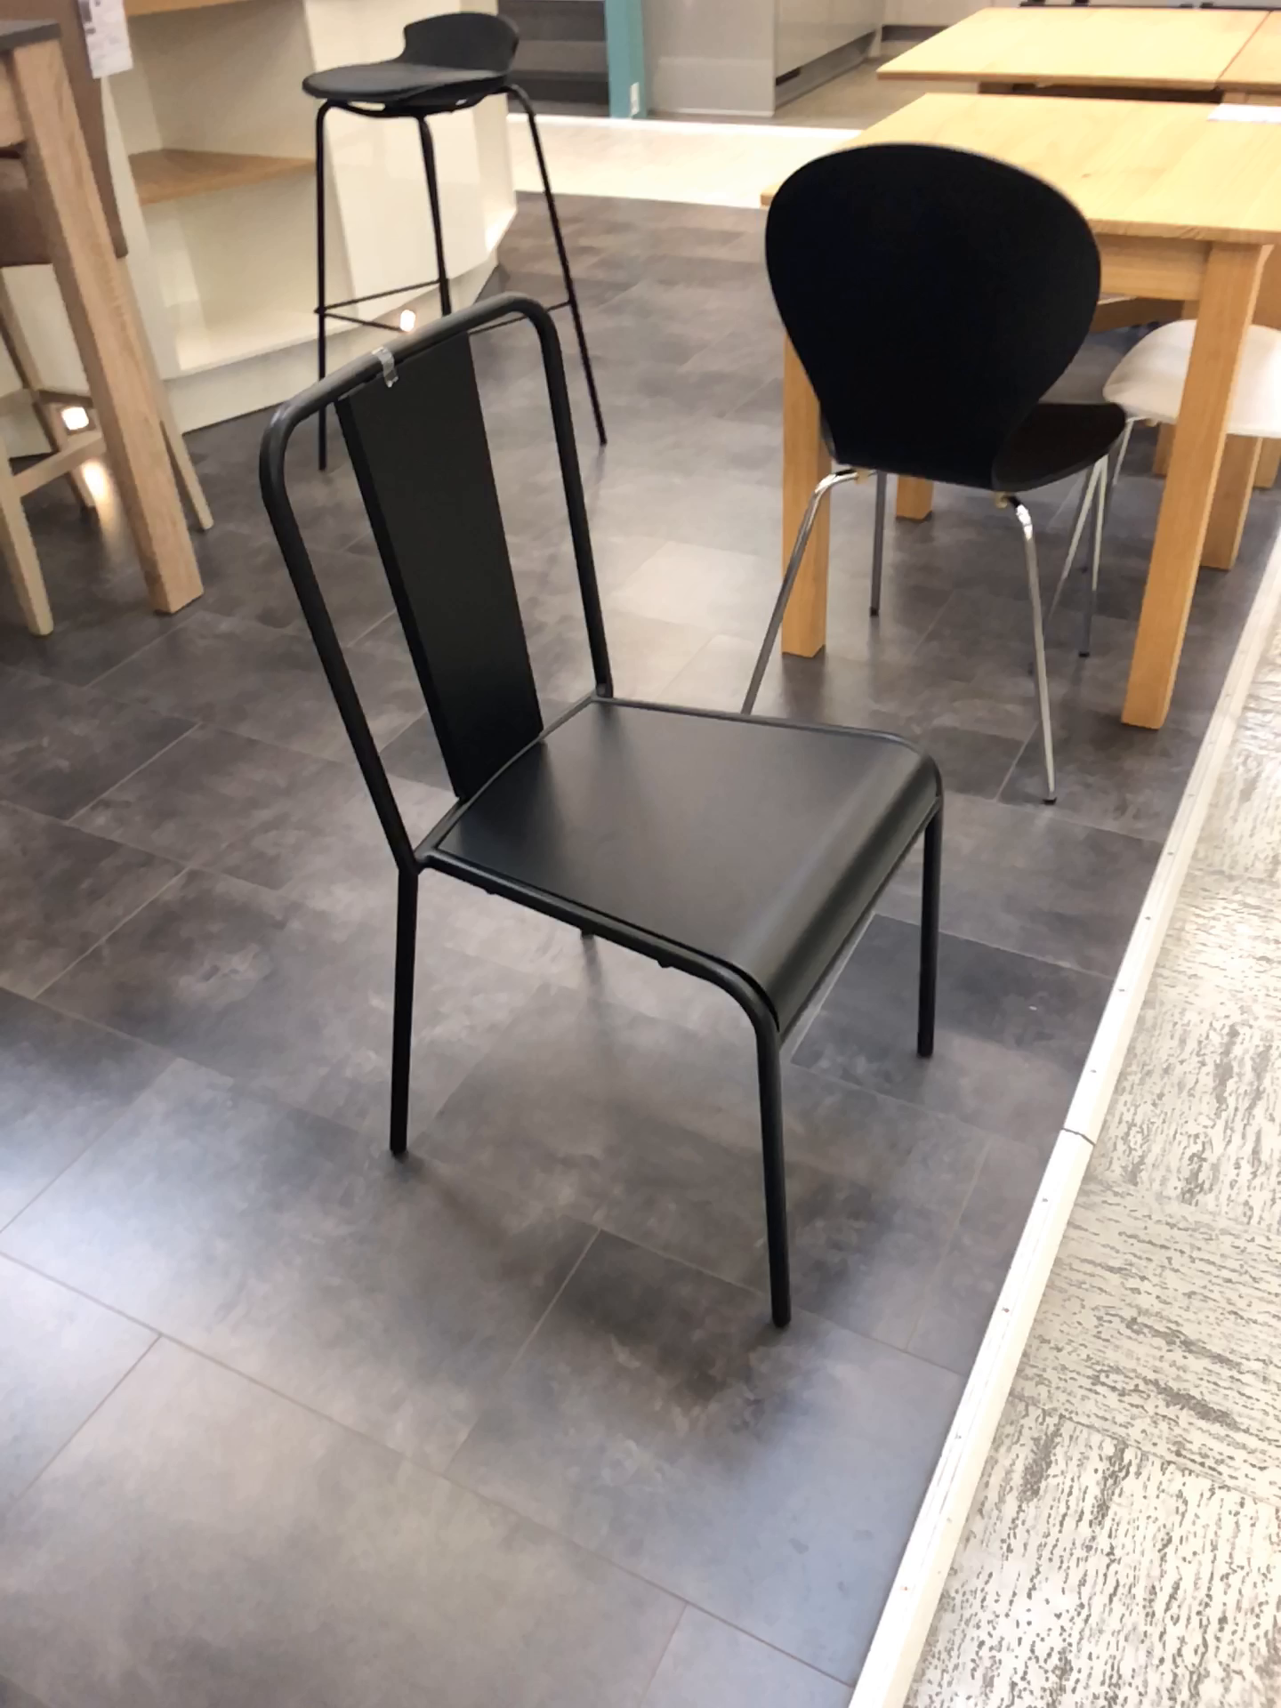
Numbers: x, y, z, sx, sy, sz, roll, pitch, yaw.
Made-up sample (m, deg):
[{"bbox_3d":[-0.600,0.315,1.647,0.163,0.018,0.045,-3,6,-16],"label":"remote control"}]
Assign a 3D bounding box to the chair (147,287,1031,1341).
[{"bbox_3d":[-0.007,-0.045,1.370,0.570,0.815,0.443,15,41,23],"label":"chair"}]
